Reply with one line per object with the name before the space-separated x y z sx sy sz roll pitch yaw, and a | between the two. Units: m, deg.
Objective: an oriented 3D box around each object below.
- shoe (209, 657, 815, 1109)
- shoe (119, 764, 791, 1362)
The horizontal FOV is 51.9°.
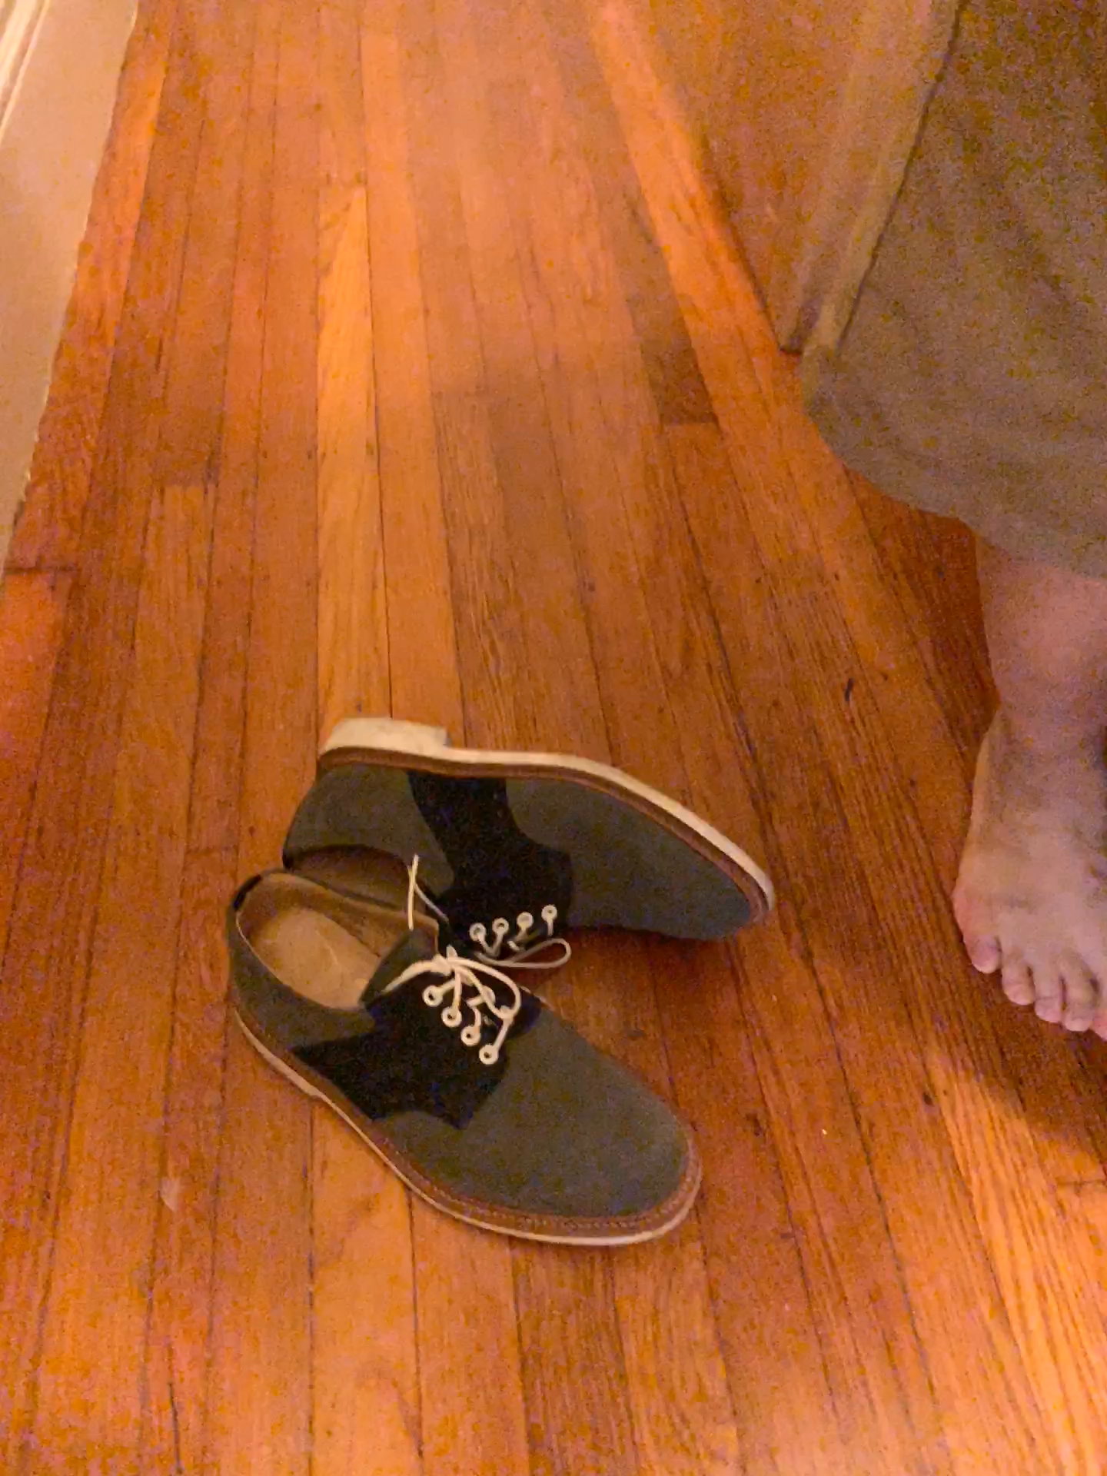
shoe | -0.024 0.085 0.678 0.310 0.130 0.120 20 57 10
shoe | -0.054 0.160 0.596 0.310 0.100 0.130 30 57 17
